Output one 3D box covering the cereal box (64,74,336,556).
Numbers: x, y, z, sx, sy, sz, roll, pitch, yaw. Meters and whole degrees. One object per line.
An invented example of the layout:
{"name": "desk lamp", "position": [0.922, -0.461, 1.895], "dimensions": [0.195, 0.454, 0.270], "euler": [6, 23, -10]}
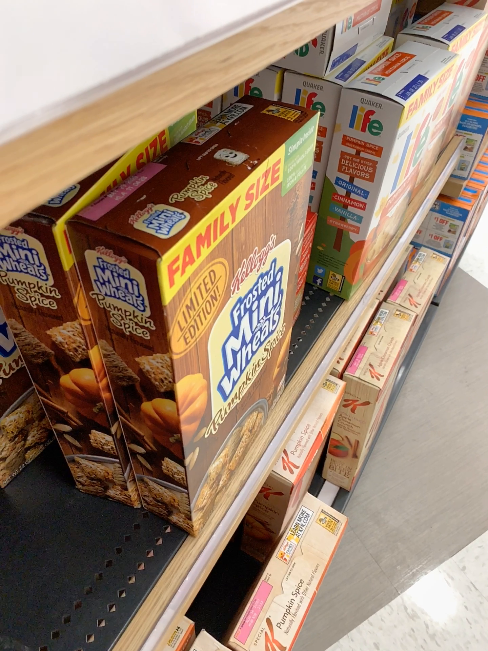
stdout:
{"name": "cereal box", "position": [-0.009, 0.010, 0.377], "dimensions": [0.050, 0.309, 0.201], "euler": [20, 48, 19]}
